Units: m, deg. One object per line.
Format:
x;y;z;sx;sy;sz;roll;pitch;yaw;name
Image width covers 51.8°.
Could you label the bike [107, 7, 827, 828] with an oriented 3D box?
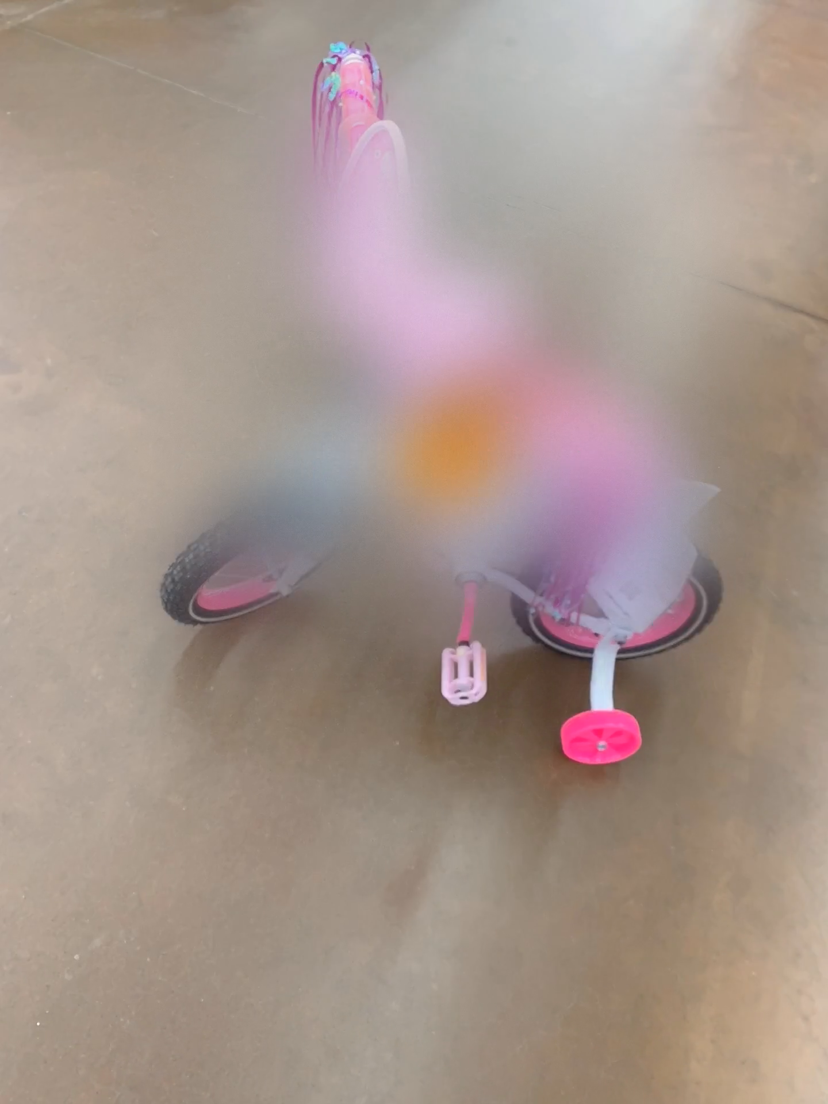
0.101;-0.058;0.996;0.759;0.750;0.444;-1;51;-15;bike
